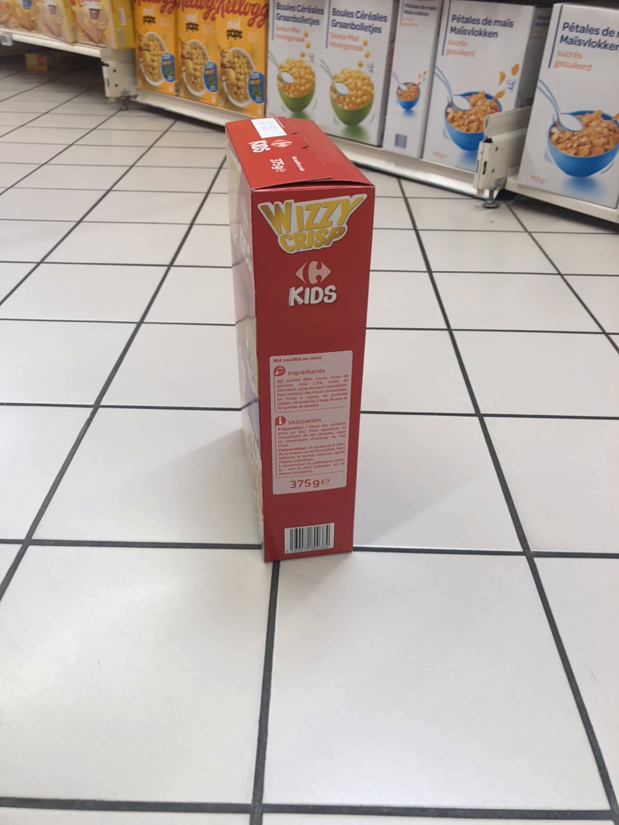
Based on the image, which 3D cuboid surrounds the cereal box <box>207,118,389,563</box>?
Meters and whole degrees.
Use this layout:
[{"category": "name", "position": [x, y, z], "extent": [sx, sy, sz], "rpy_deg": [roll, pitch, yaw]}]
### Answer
[{"category": "cereal box", "position": [-0.019, -0.059, 0.522], "extent": [0.090, 0.278, 0.191], "rpy_deg": [-5, 33, -9]}]
